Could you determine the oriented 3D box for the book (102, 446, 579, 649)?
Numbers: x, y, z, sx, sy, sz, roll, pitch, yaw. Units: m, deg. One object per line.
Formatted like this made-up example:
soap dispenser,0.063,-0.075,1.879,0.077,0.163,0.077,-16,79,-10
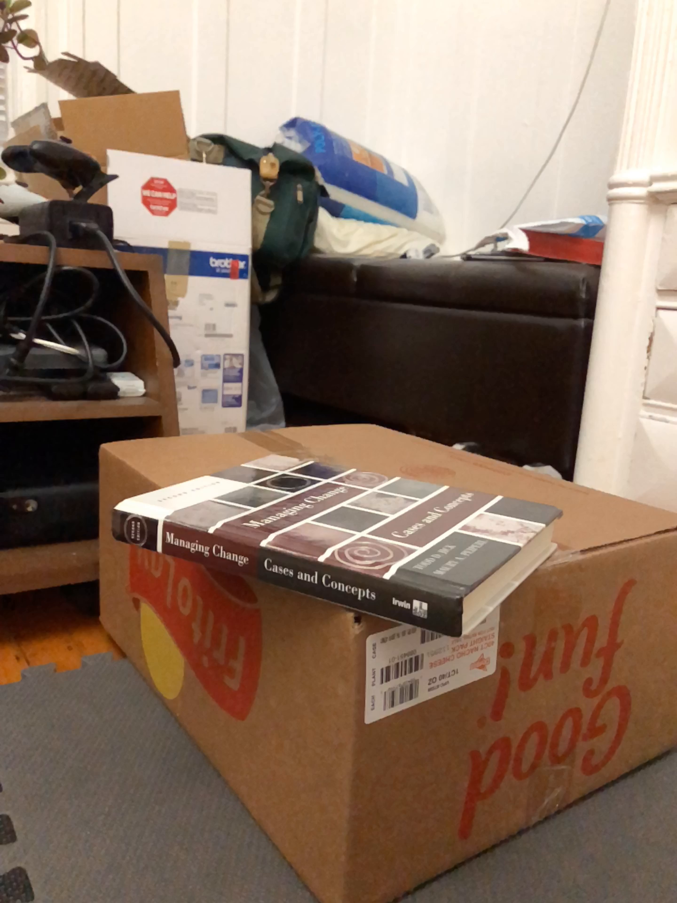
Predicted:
book,0.005,0.044,0.483,0.250,0.030,0.181,10,14,30
